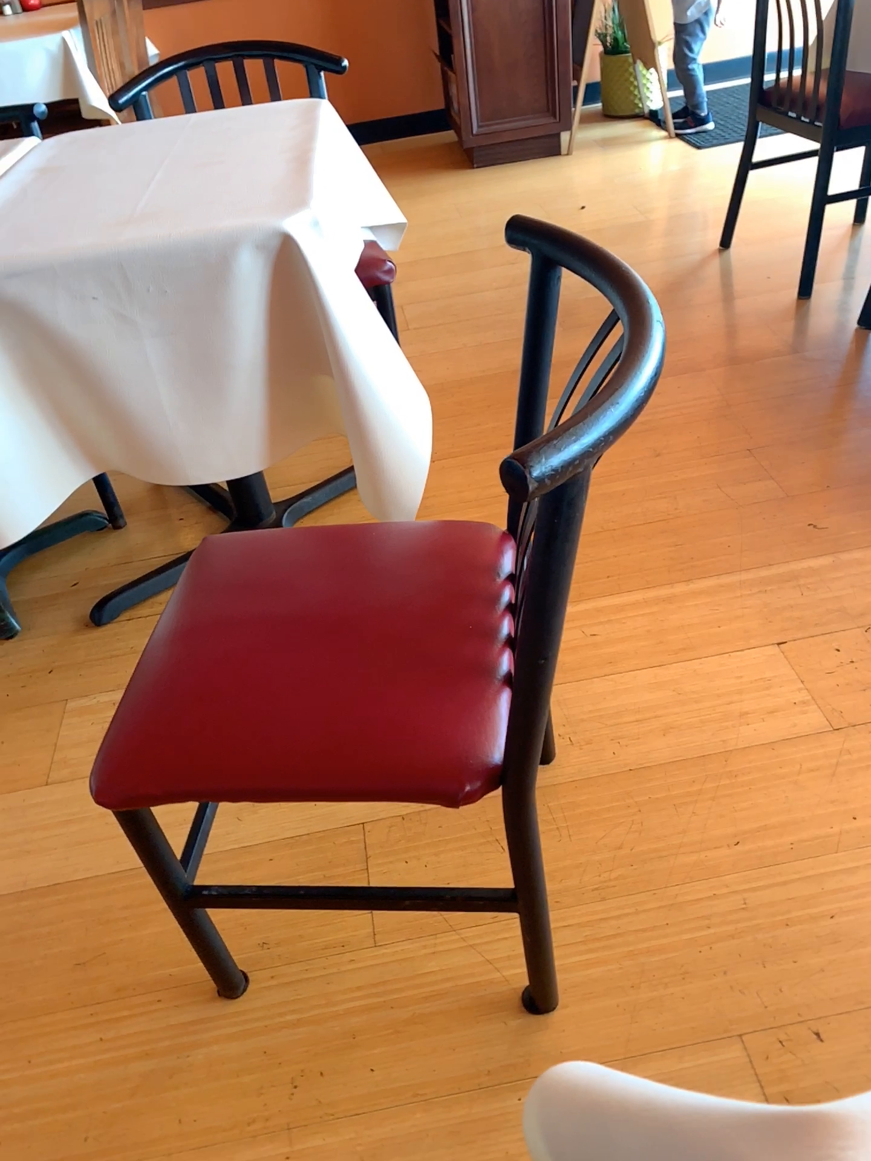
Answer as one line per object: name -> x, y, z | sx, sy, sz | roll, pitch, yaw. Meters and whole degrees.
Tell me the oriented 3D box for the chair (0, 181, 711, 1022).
chair -> -0.065, 0.064, 0.947 | 0.570, 0.726, 0.483 | -3, 41, 8
